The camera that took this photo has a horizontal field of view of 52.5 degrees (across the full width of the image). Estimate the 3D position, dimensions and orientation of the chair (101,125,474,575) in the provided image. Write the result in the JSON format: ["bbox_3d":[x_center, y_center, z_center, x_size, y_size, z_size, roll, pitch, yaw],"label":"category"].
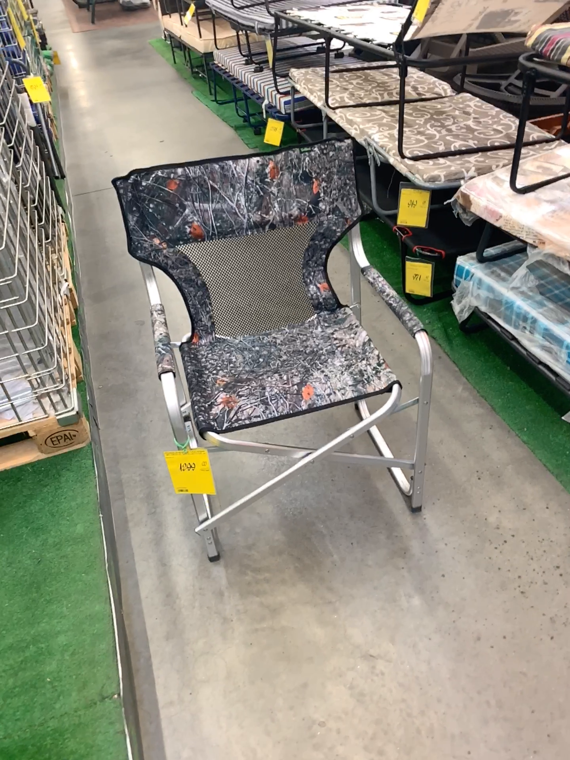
[{"bbox_3d":[-0.011,-0.082,1.477,0.650,0.836,0.613,-12,39,-6],"label":"chair"}]
